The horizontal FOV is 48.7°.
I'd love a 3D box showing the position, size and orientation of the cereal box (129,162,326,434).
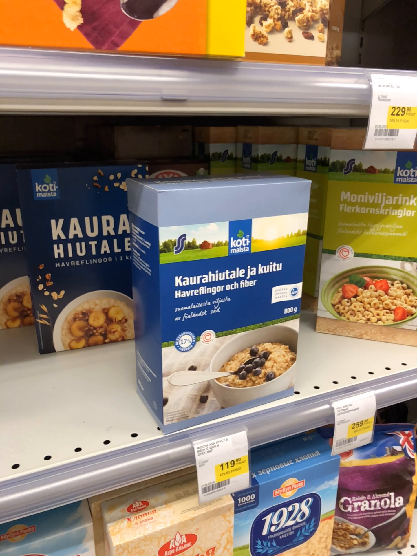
[{"bbox_3d":[0.015,0.009,0.432,0.150,0.219,0.080,-9,20,-26],"label":"cereal box"}]
